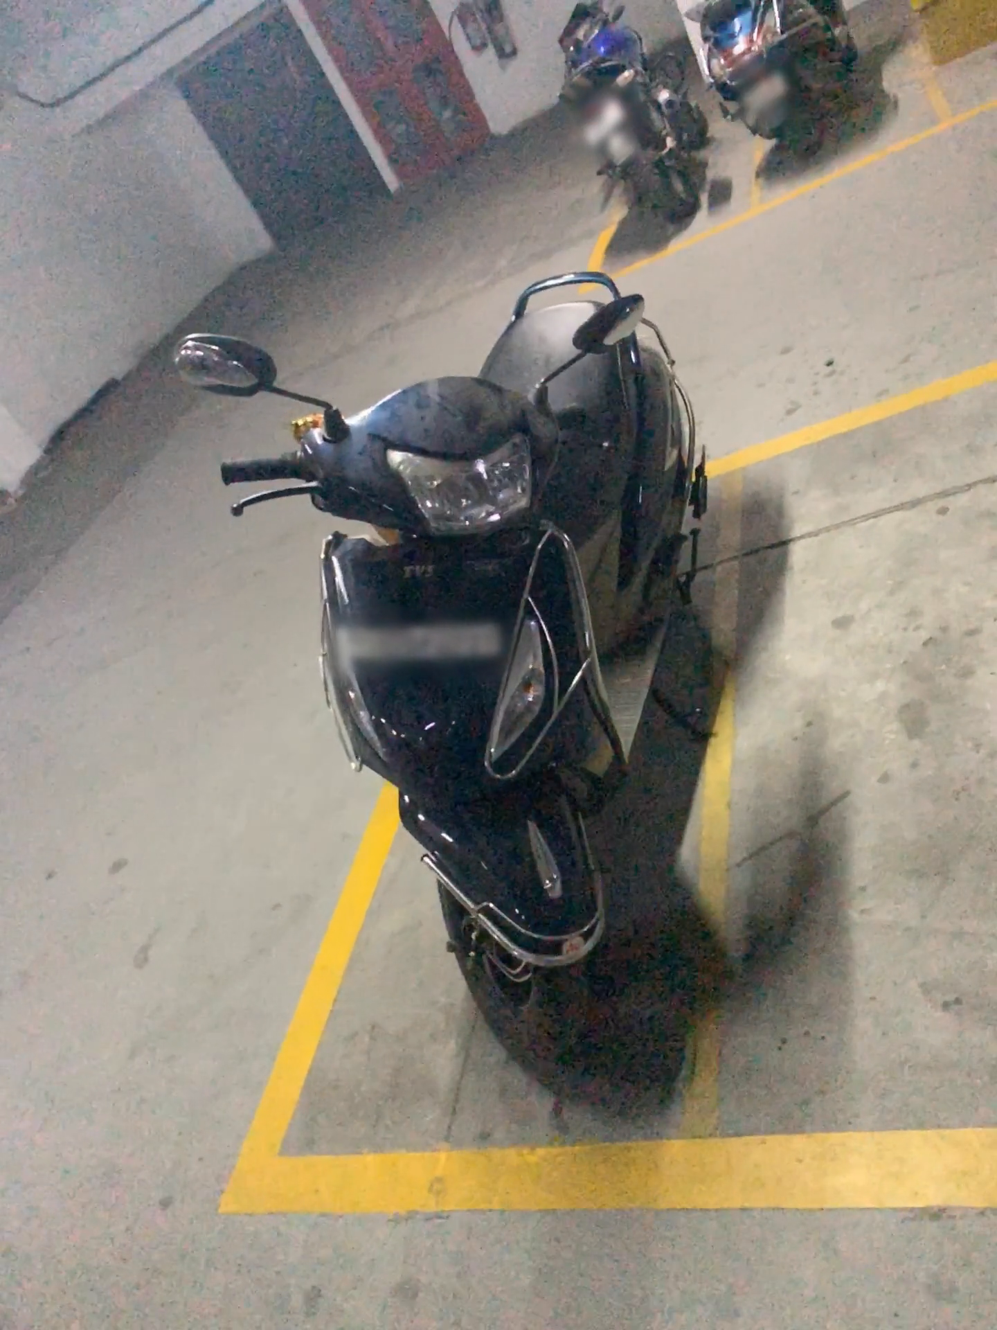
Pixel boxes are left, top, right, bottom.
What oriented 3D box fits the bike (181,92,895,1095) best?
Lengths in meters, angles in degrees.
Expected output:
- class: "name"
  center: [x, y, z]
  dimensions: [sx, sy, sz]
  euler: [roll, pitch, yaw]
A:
- class: "bike"
  center: [0.181, -0.259, 2.115]
  dimensions: [0.666, 1.027, 1.698]
  euler: [-19, 37, 23]
